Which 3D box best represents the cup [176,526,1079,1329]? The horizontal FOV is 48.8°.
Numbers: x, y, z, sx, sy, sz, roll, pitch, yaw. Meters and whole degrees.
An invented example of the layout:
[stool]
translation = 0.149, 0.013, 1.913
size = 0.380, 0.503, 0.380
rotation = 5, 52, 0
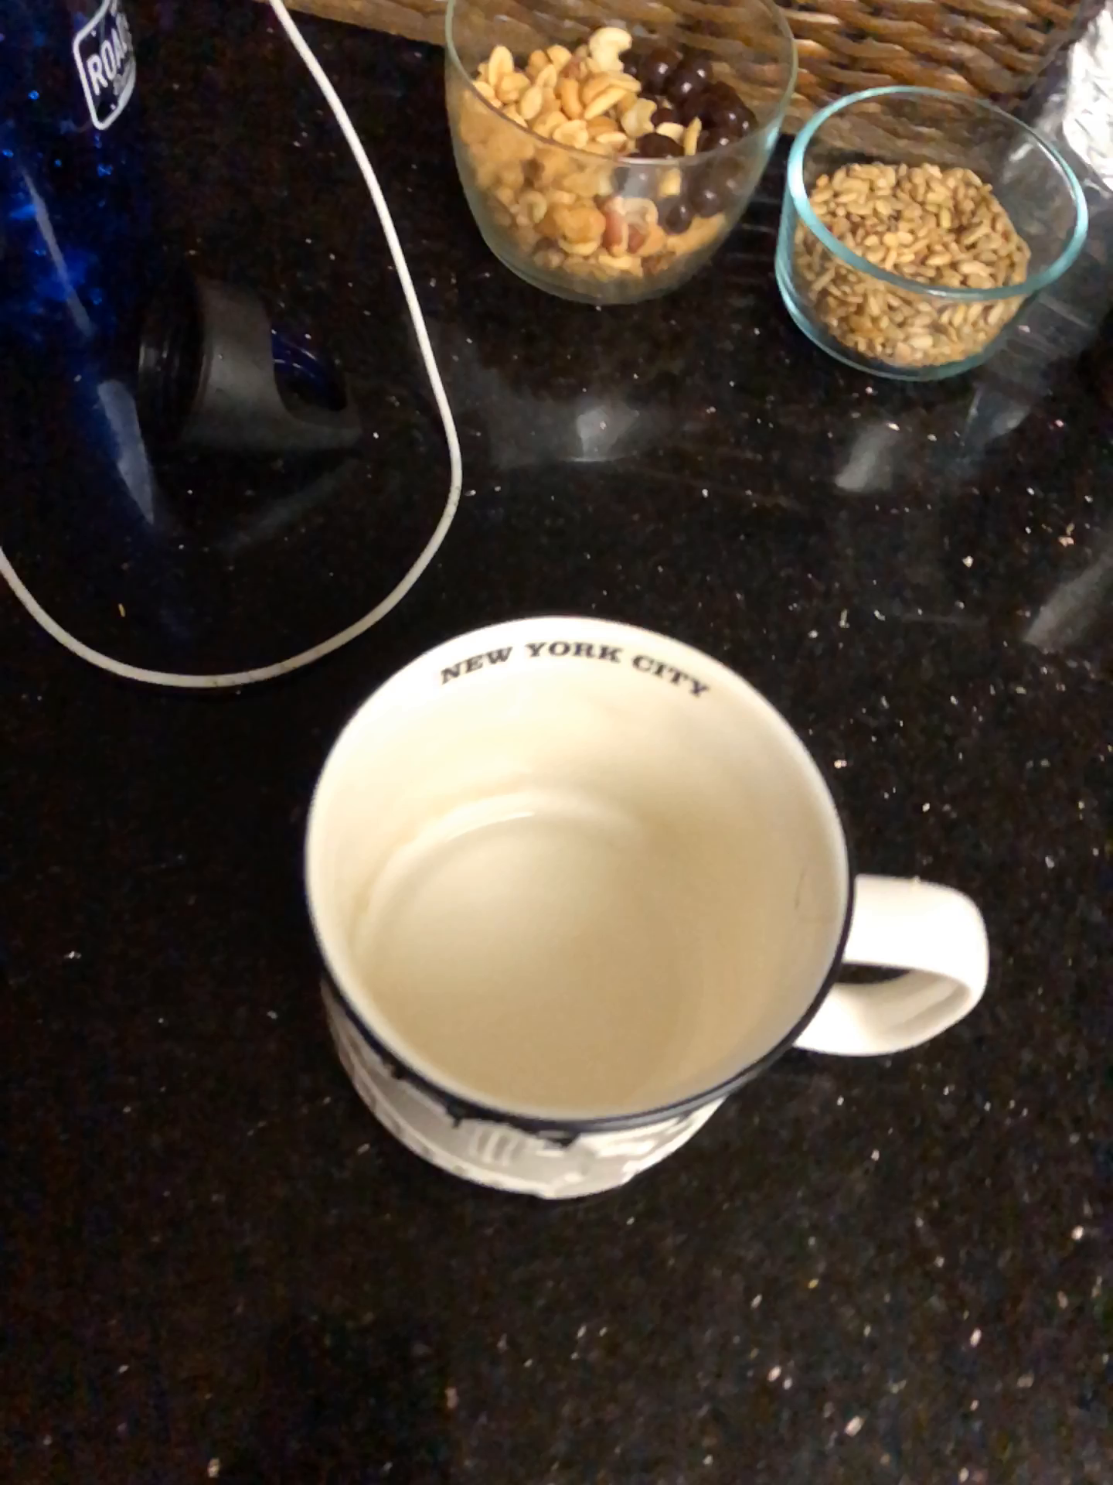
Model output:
[cup]
translation = 0.019, 0.044, 0.270
size = 0.150, 0.090, 0.120
rotation = 14, 63, 1
